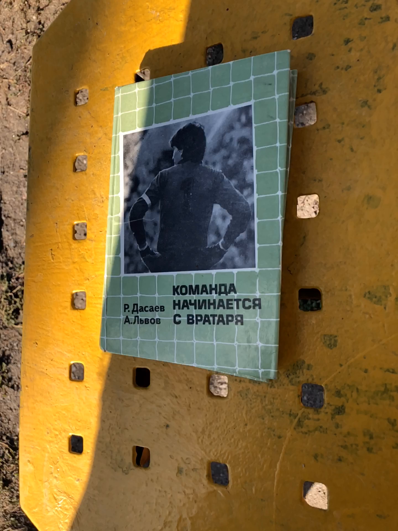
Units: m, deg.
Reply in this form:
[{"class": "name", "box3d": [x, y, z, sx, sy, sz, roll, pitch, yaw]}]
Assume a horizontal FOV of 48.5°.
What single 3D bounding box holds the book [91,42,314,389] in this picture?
[{"class": "book", "box3d": [-0.002, -0.026, 0.251, 0.117, 0.030, 0.164, 2, 87, 30]}]
